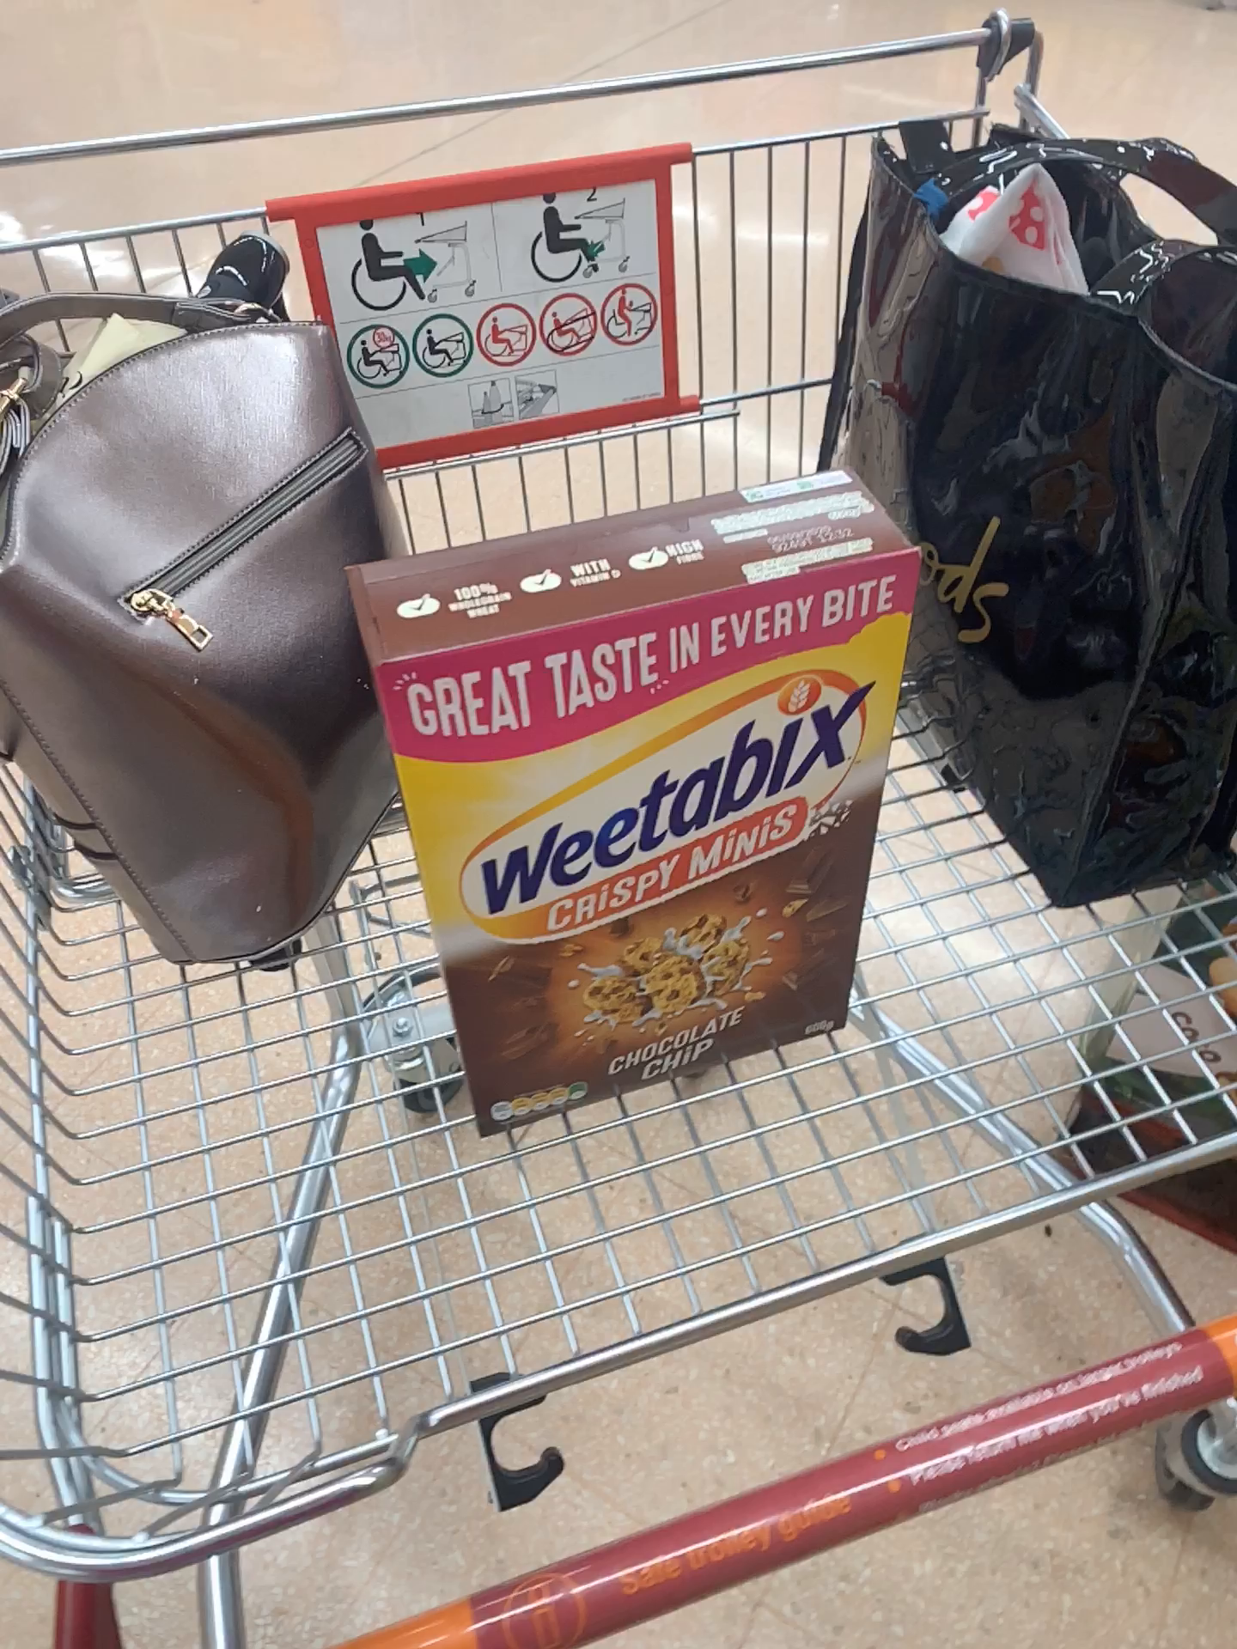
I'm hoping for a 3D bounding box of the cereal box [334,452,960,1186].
[{"bbox_3d":[0.011,0.018,0.562,0.210,0.327,0.071,-14,47,-13],"label":"cereal box"}]
